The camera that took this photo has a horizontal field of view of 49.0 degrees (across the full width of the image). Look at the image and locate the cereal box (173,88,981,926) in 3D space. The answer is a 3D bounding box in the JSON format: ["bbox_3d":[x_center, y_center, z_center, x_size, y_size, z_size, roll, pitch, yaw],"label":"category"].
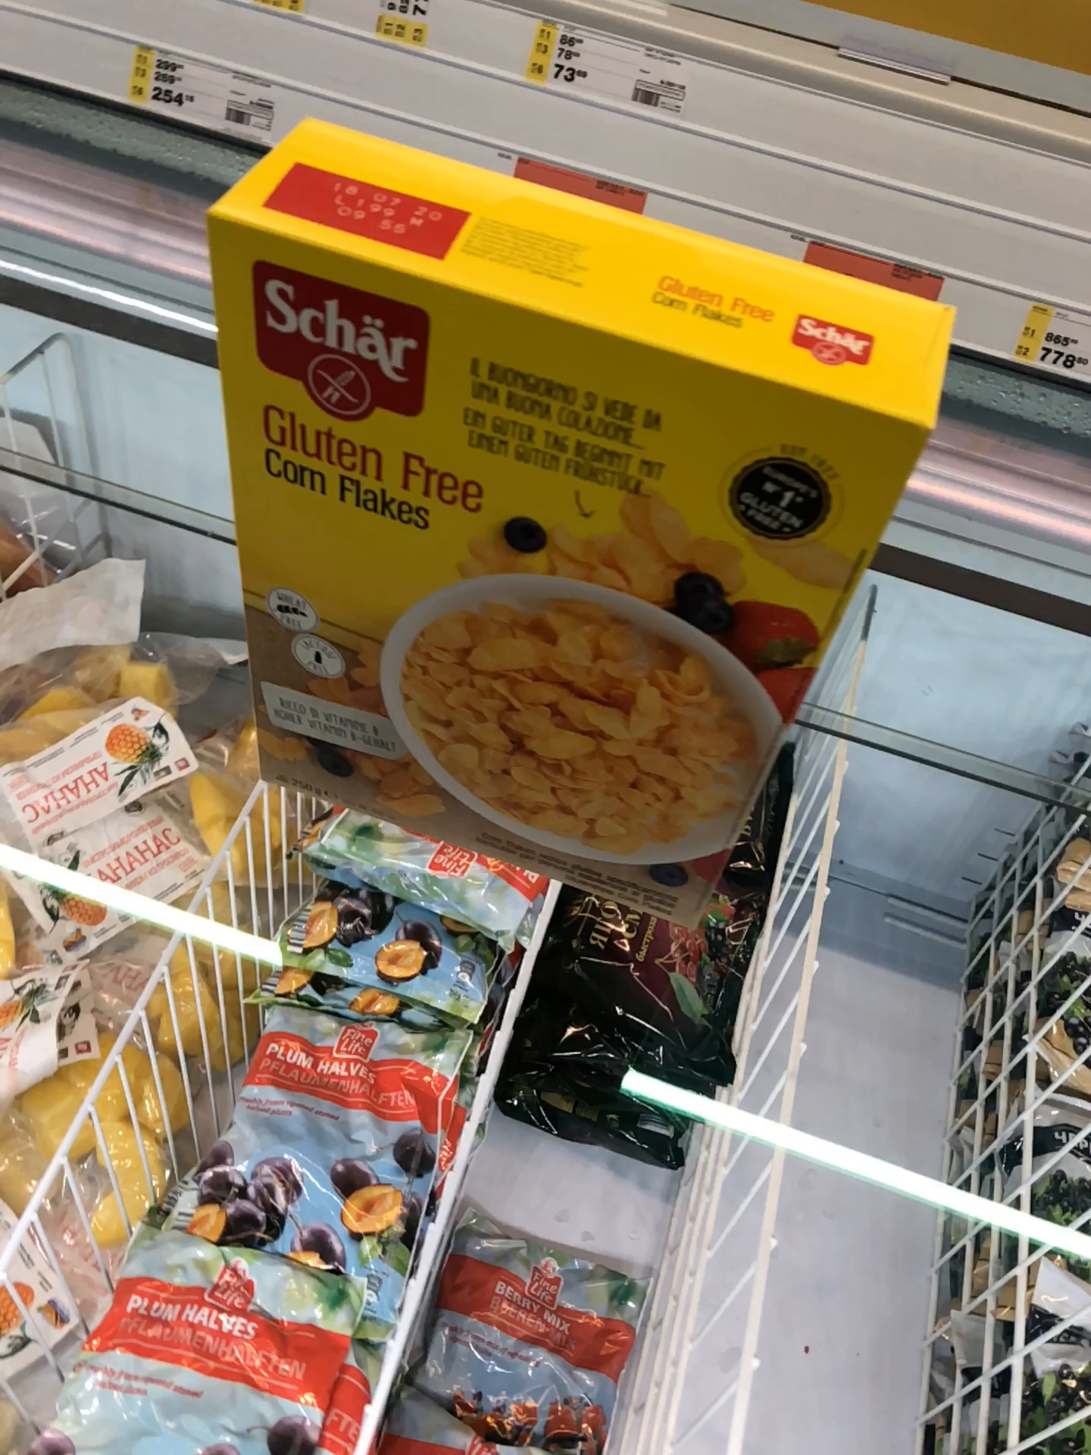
[{"bbox_3d":[-0.005,-0.051,0.397,0.200,0.238,0.060,18,51,5],"label":"cereal box"}]
